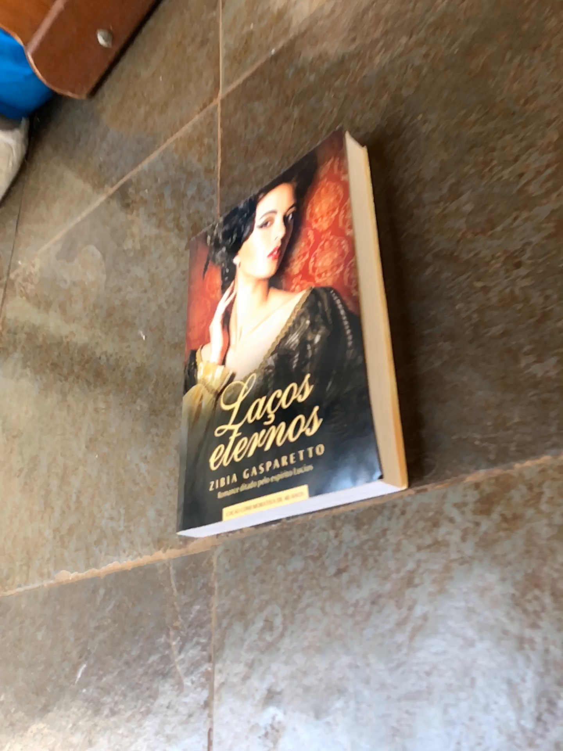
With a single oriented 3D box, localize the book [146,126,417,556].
[{"bbox_3d":[-0.011,-0.017,0.344,0.154,0.027,0.205,-24,56,36],"label":"book"}]
